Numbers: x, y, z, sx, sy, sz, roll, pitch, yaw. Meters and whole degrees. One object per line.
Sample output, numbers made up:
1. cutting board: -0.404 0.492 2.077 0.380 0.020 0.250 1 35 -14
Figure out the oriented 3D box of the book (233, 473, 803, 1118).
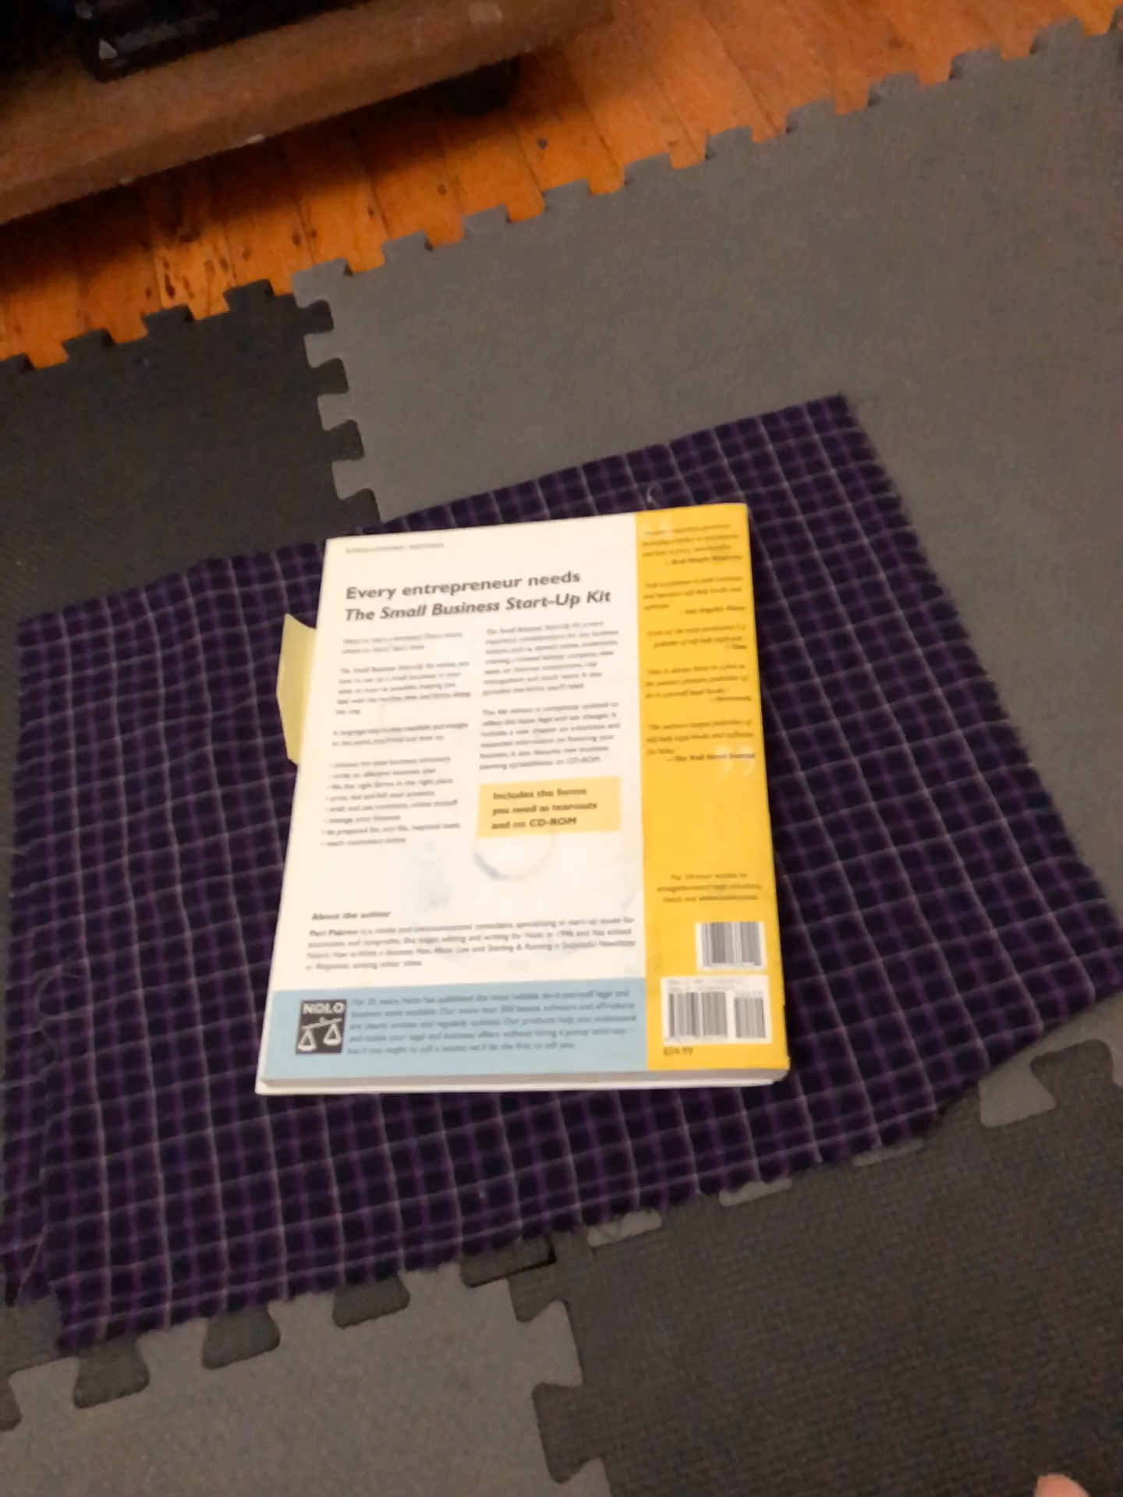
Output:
1. book: -0.016 0.010 0.572 0.230 0.030 0.311 -3 61 8
